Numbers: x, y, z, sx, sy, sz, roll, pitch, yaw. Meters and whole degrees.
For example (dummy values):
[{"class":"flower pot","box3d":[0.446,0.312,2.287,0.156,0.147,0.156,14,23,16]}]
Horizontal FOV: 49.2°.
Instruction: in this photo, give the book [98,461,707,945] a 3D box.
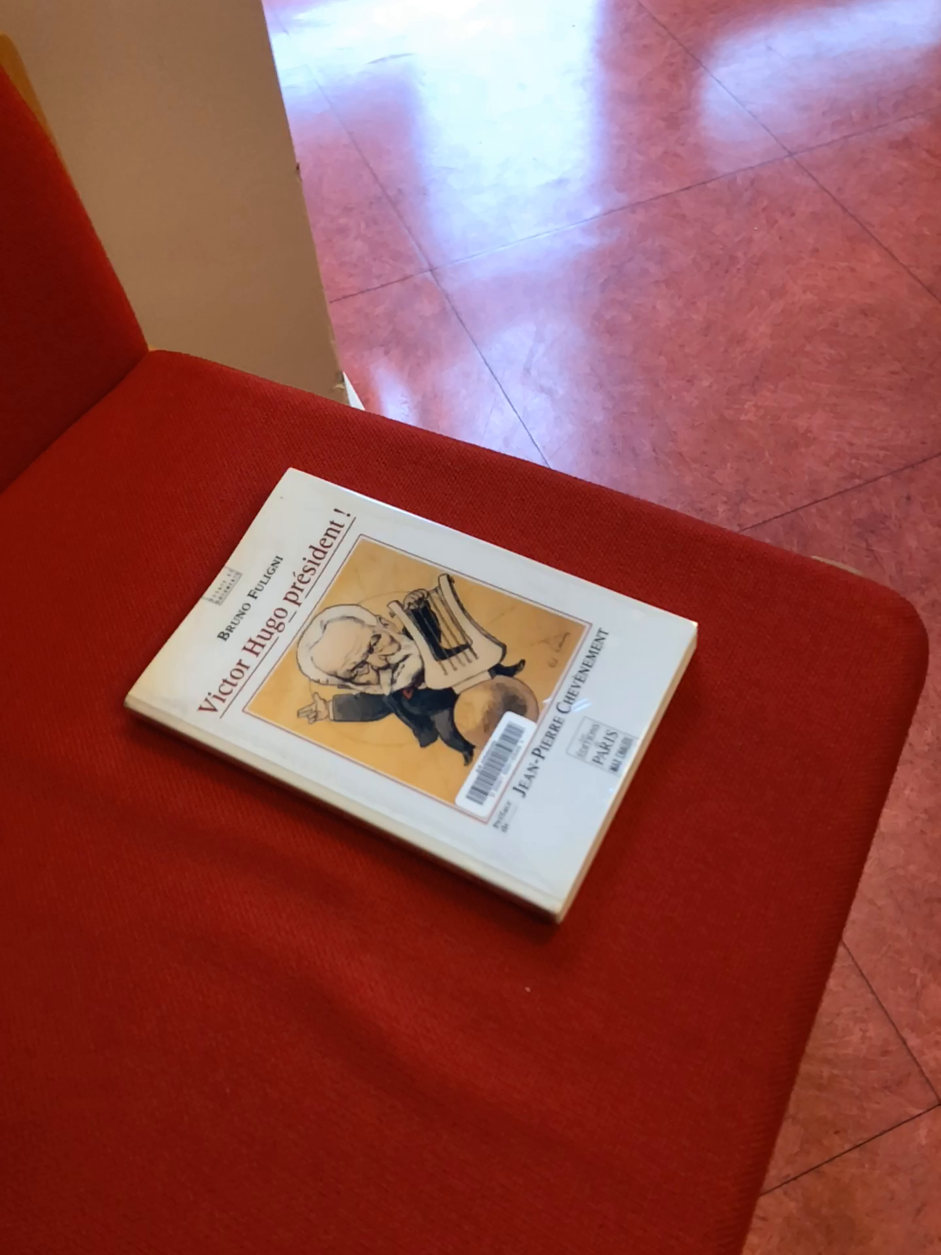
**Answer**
[{"class":"book","box3d":[-0.029,0.024,0.488,0.236,0.040,0.152,22,61,17]}]
